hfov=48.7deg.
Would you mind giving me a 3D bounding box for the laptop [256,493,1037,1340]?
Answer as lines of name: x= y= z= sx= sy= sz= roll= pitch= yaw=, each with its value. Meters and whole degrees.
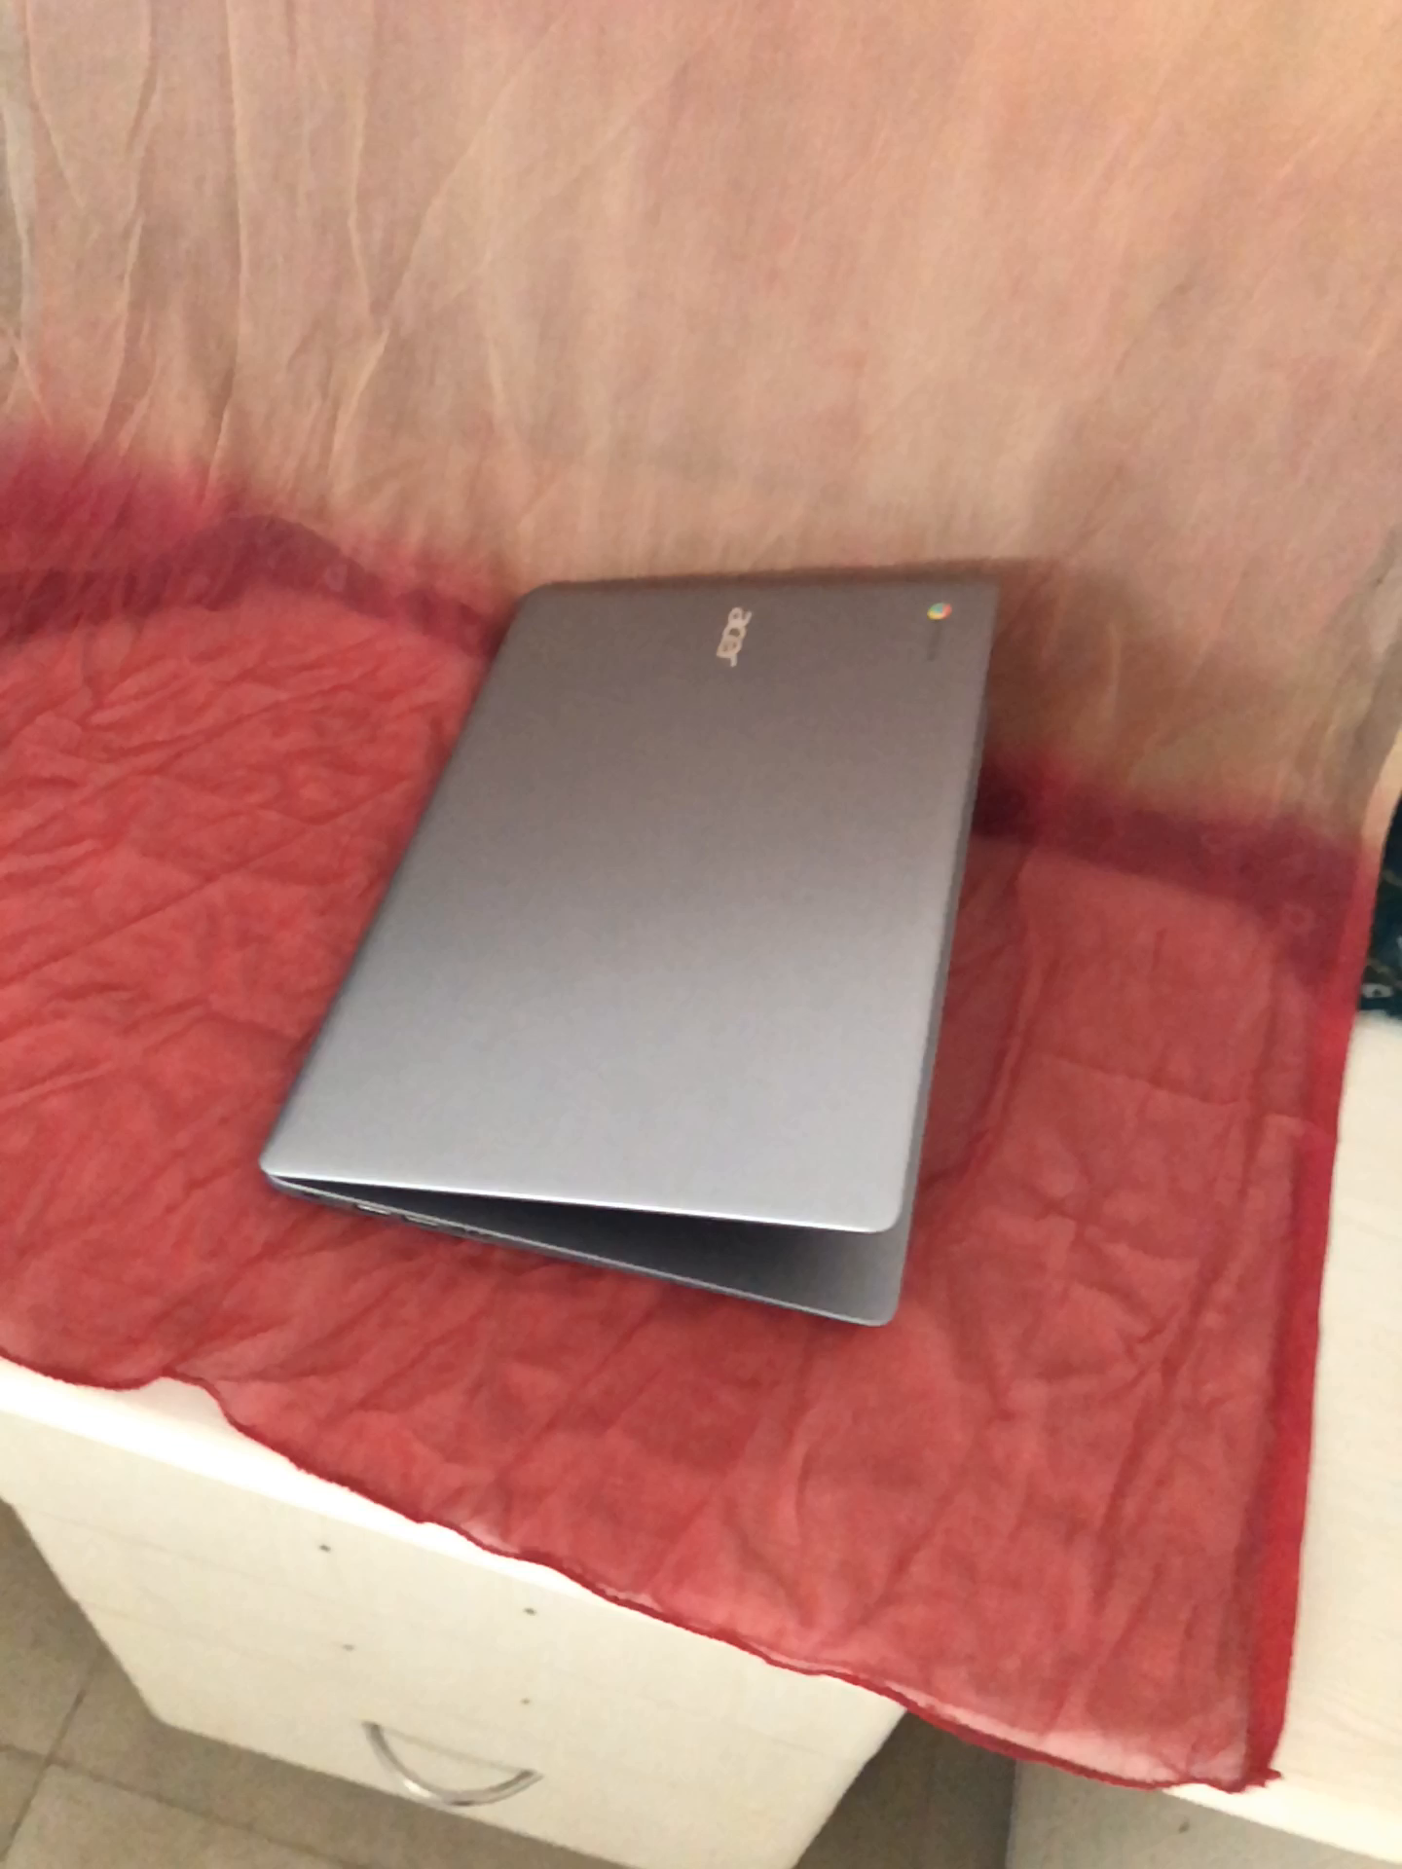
laptop: x=-0.001 y=-0.031 z=0.601 sx=0.219 sy=0.065 sz=0.323 roll=12 pitch=52 yaw=6
